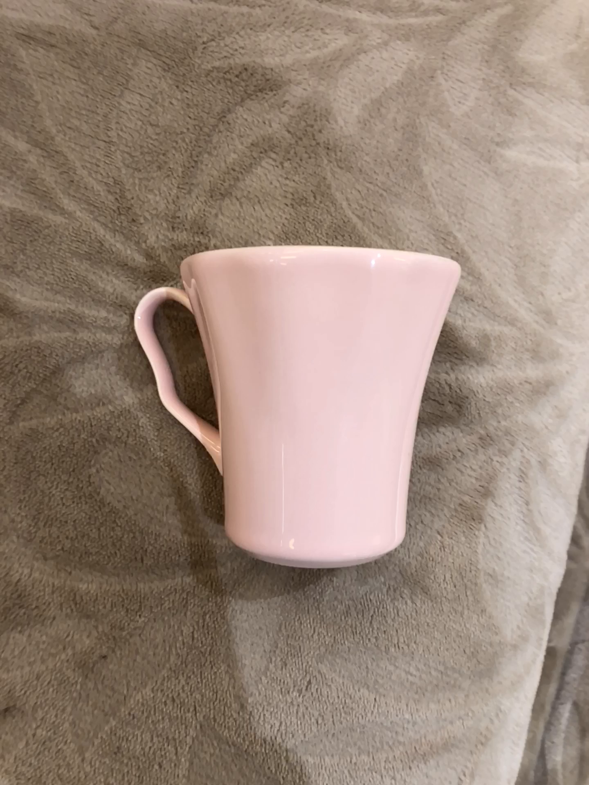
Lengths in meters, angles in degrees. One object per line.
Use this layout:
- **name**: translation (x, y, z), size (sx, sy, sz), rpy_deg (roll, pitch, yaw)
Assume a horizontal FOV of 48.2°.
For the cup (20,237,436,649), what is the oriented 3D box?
- **cup**: translation (-0.014, 0.010, 0.194), size (0.100, 0.070, 0.090), rpy_deg (0, 92, 21)
